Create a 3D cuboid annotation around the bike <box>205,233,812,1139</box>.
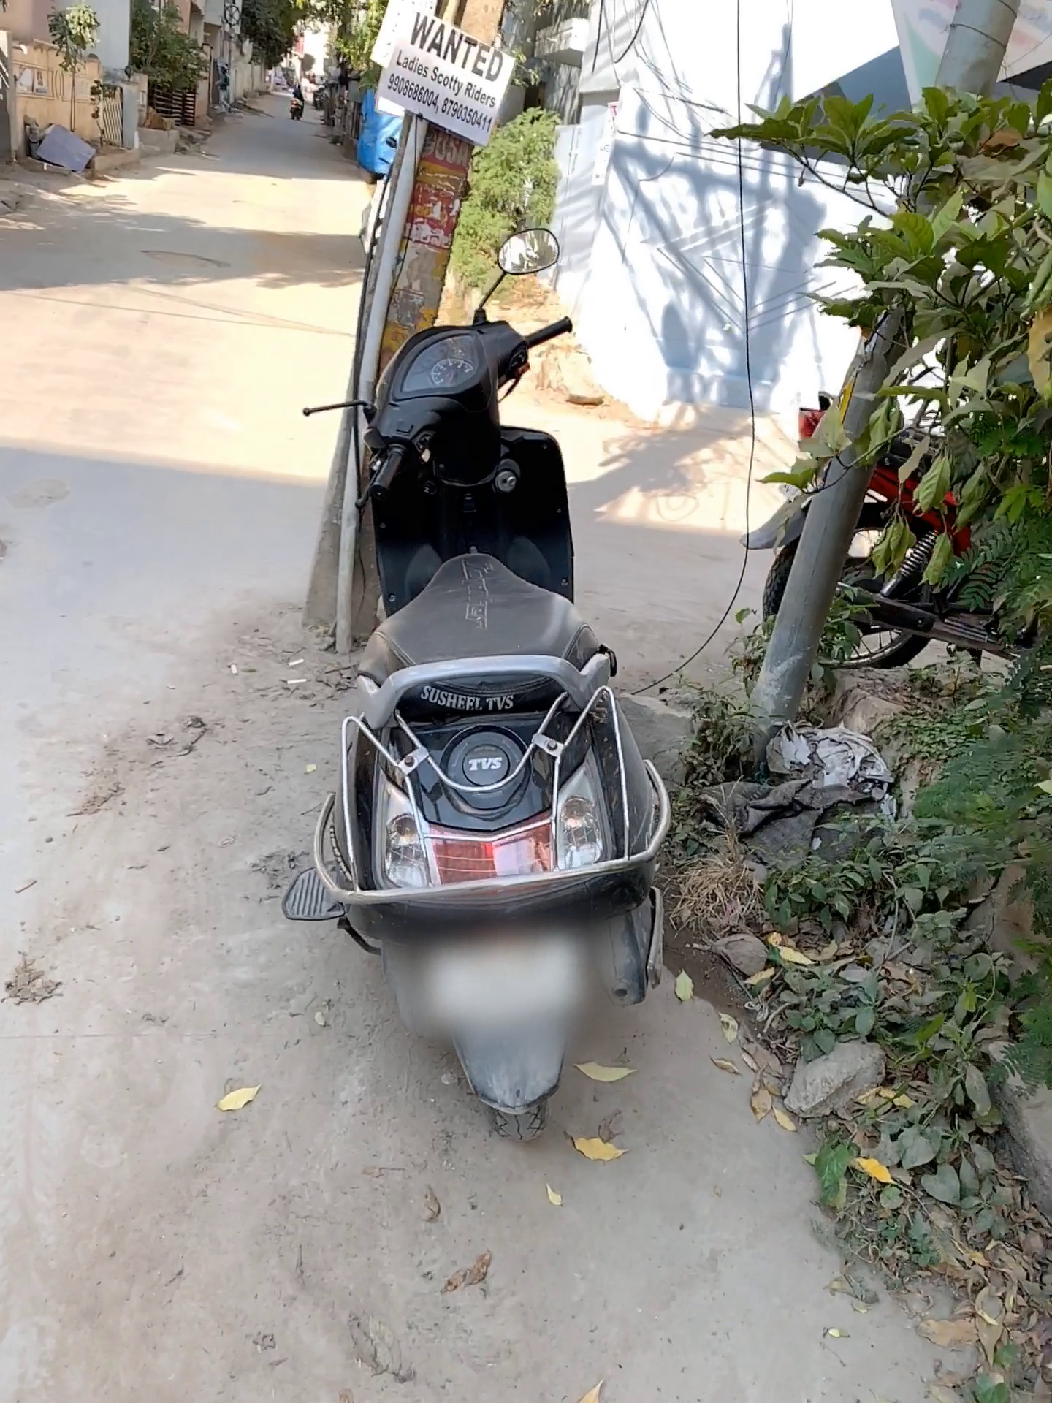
[{"bbox_3d":[-0.166,-0.252,2.119,0.618,0.943,1.826,5,28,-11],"label":"bike"}]
